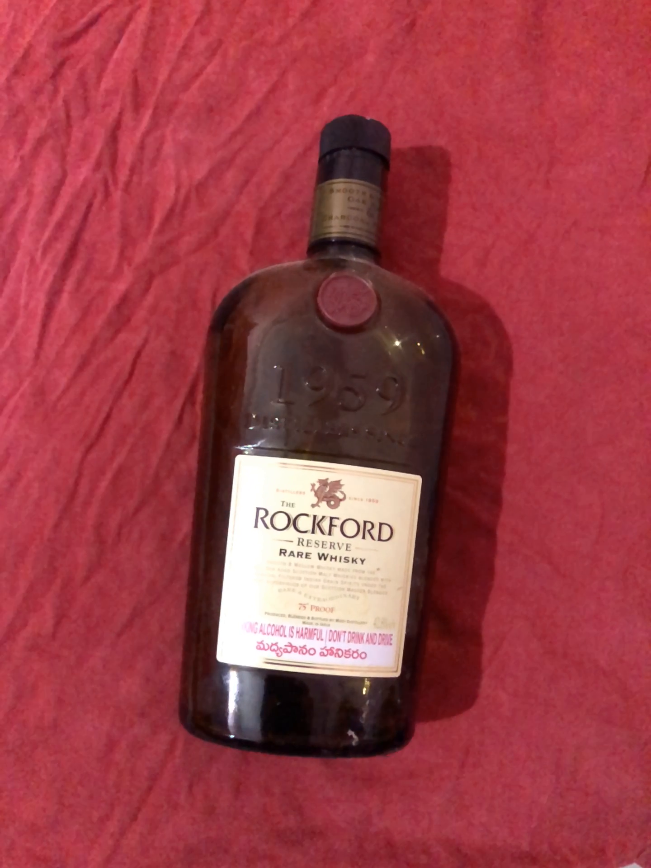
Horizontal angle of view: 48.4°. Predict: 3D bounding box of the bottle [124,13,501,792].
[{"bbox_3d":[-0.001,-0.014,0.267,0.100,0.060,0.250,6,82,-4],"label":"bottle"}]
